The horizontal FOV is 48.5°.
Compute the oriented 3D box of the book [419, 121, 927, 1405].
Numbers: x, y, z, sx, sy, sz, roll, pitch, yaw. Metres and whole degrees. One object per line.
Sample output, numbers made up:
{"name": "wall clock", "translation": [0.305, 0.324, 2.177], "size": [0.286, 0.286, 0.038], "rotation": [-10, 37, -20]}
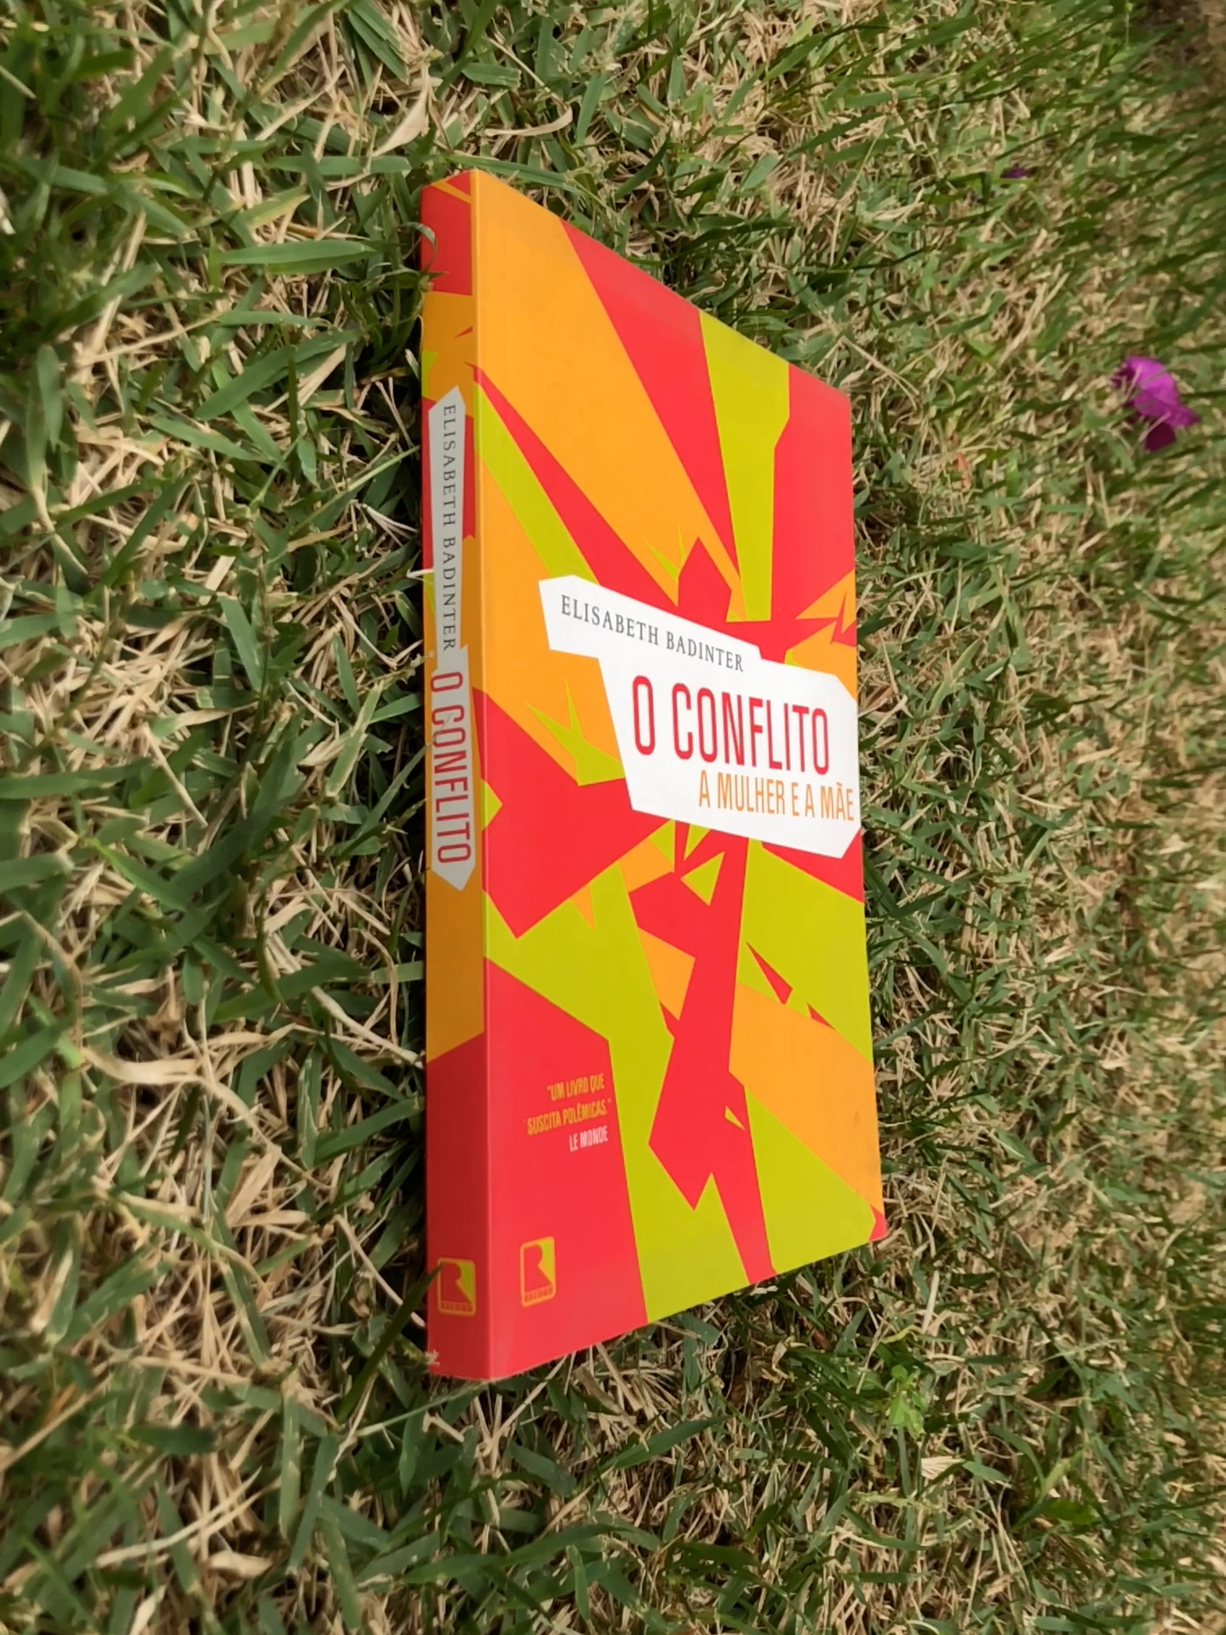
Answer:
{"name": "book", "translation": [0.018, -0.008, 0.266], "size": [0.131, 0.020, 0.200], "rotation": [7, 80, -50]}
